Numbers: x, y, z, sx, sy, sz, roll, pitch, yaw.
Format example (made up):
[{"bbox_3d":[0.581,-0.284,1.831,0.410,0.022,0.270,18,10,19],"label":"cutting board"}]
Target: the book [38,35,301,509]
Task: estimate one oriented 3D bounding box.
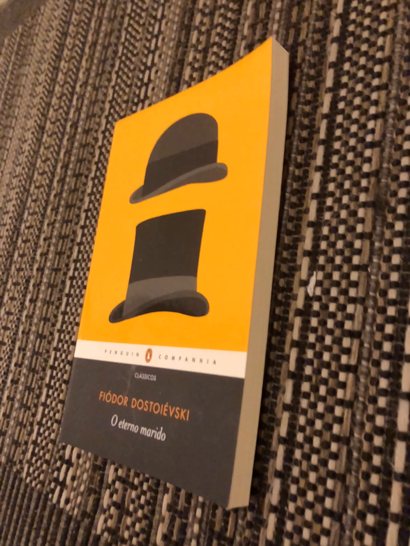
[{"bbox_3d":[-0.022,-0.004,0.220,0.131,0.020,0.180,-5,72,44],"label":"book"}]
